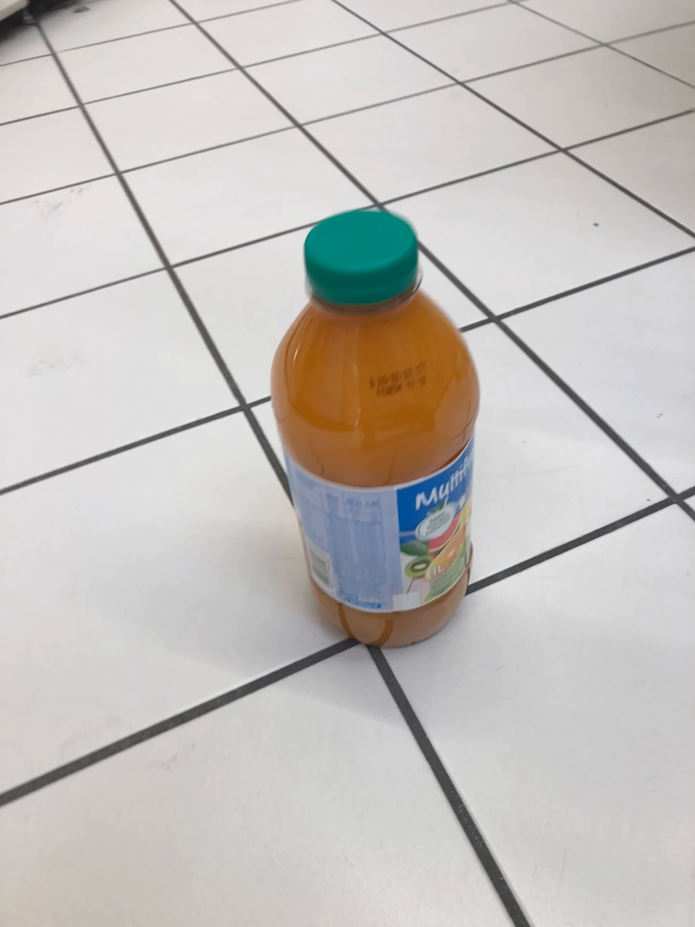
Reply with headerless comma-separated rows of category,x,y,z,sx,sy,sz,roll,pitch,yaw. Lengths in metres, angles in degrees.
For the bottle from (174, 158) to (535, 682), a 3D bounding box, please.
bottle,0.014,-0.011,0.351,0.100,0.209,0.101,-3,46,3
